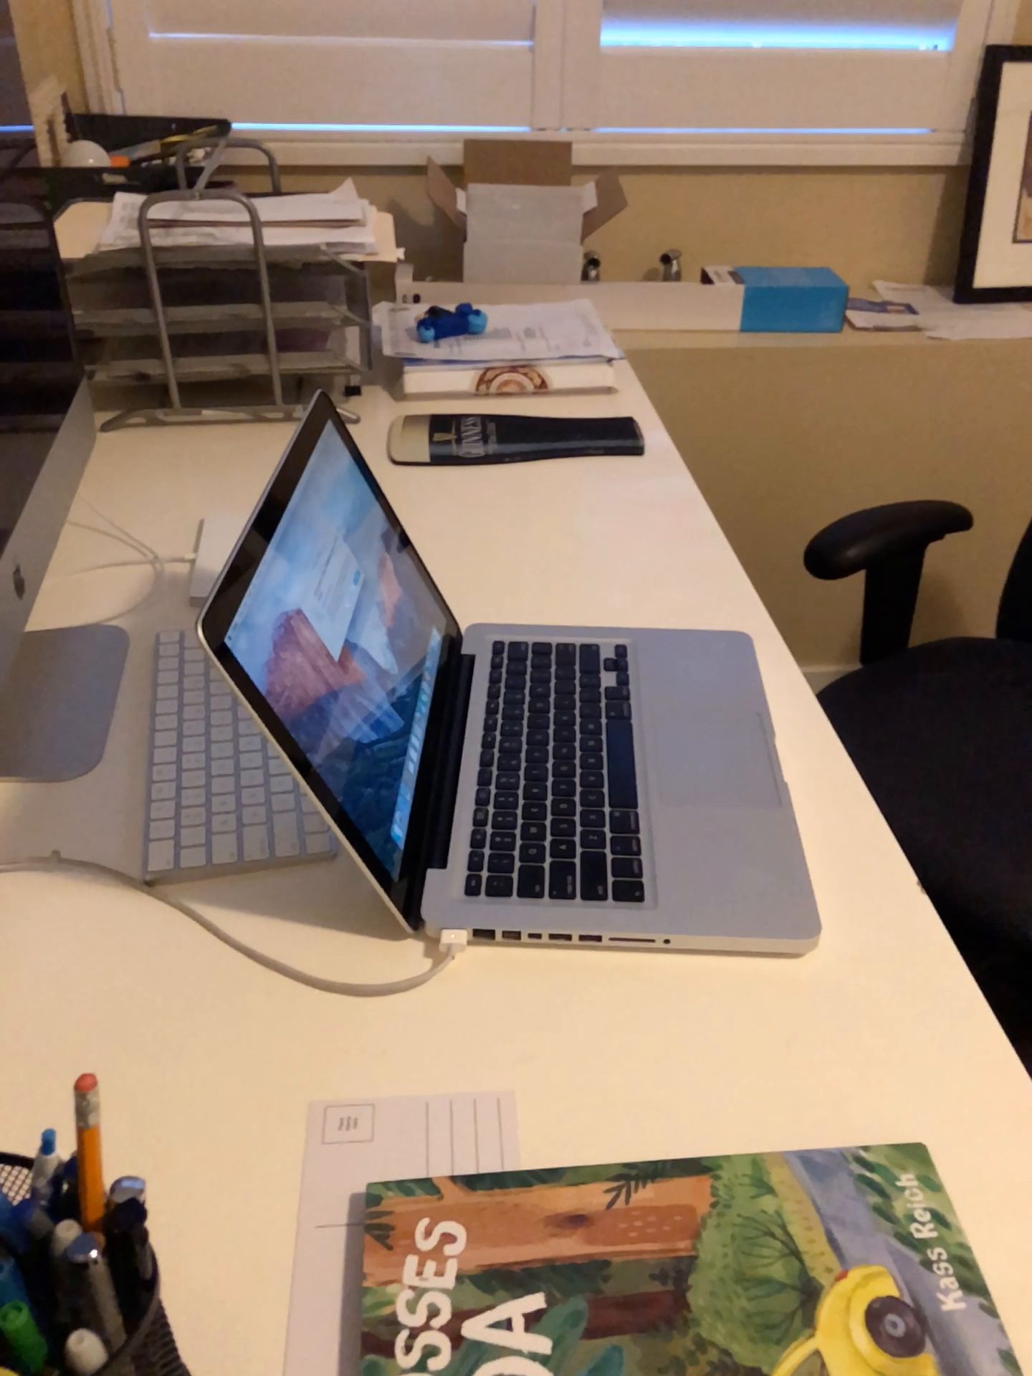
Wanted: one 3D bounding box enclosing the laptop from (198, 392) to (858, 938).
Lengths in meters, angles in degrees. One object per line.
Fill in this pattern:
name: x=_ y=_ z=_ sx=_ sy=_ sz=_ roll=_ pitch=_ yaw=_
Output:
laptop: x=0.010 y=-0.033 z=0.710 sx=0.312 sy=0.187 sz=0.304 roll=3 pitch=35 yaw=2
